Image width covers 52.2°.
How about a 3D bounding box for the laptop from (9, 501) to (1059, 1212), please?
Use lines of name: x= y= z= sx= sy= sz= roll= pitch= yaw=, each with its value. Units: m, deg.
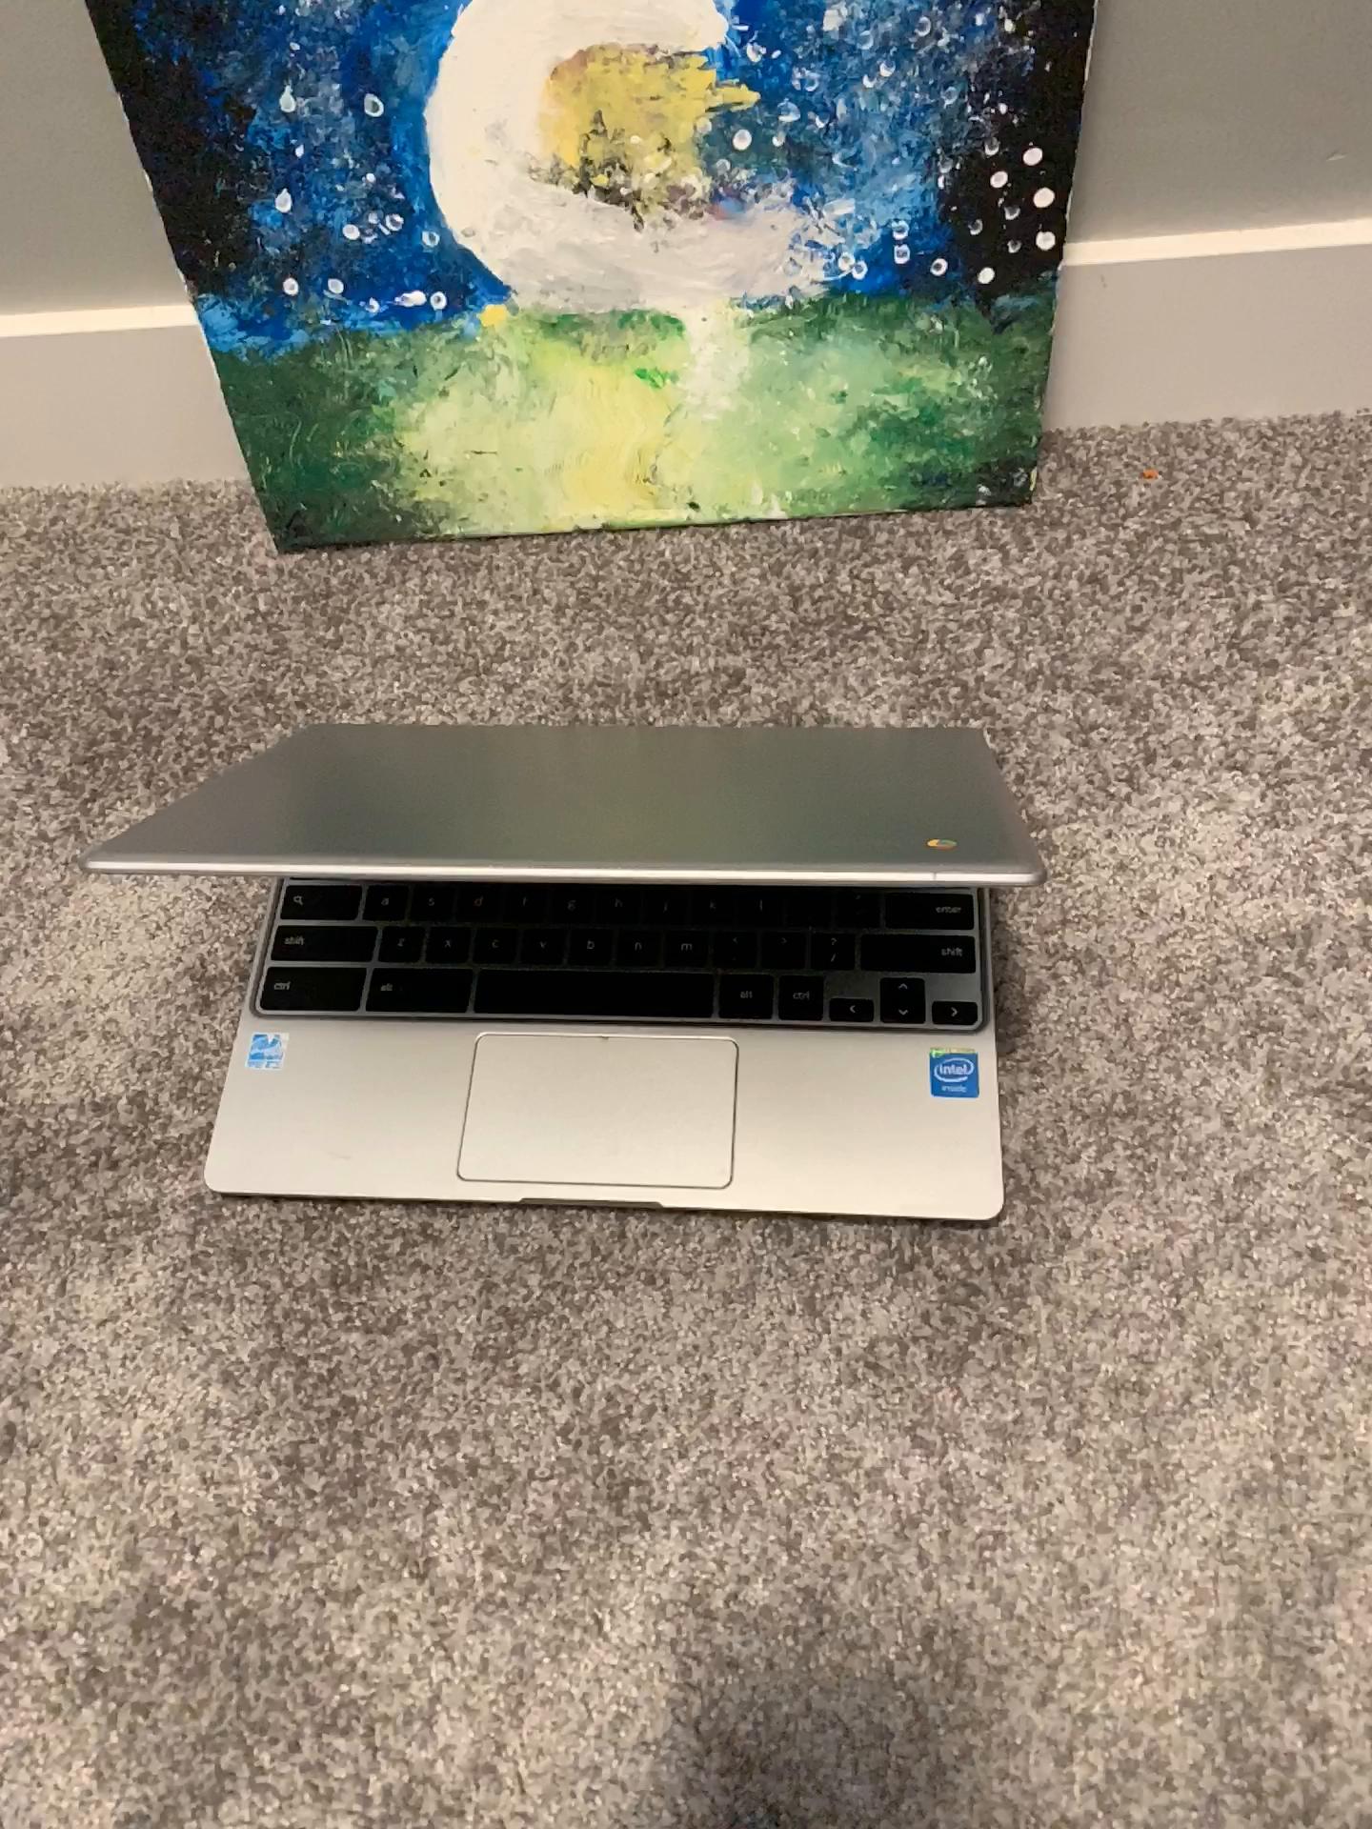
laptop: x=-0.035 y=-0.017 z=0.496 sx=0.294 sy=0.144 sz=0.200 roll=1 pitch=62 yaw=6
